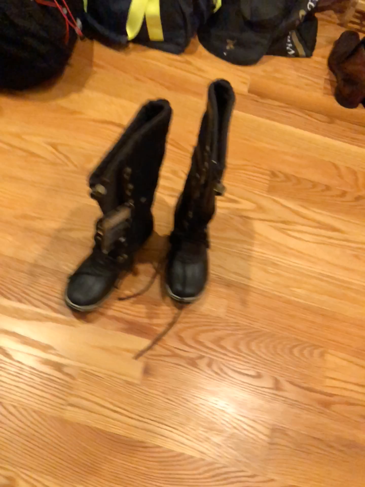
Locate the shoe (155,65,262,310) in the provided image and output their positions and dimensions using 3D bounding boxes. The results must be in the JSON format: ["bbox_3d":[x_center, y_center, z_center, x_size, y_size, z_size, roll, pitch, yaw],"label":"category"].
[{"bbox_3d":[0.028,-0.070,0.685,0.100,0.329,0.261,7,61,-6],"label":"shoe"}]

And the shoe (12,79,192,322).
[{"bbox_3d":[-0.117,-0.051,0.660,0.100,0.309,0.261,30,61,7],"label":"shoe"}]
